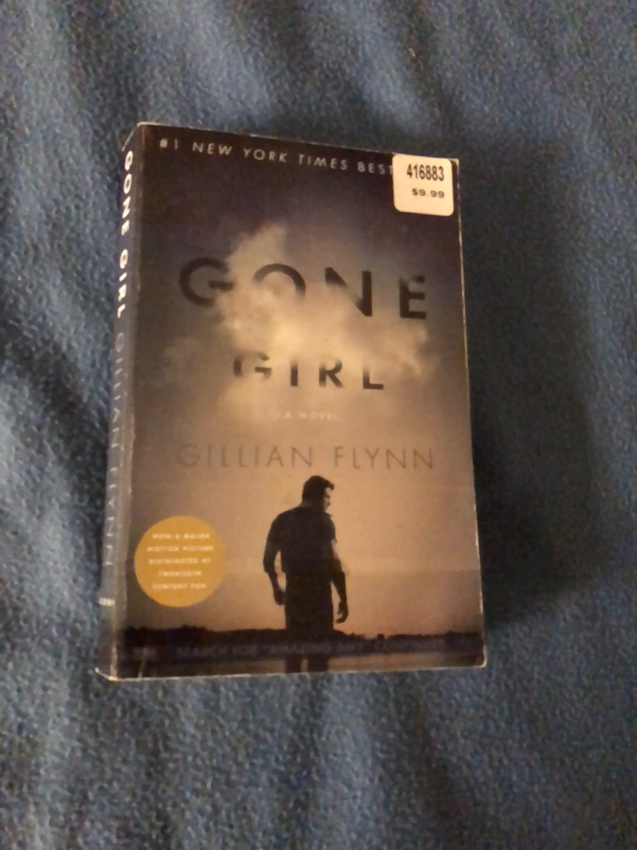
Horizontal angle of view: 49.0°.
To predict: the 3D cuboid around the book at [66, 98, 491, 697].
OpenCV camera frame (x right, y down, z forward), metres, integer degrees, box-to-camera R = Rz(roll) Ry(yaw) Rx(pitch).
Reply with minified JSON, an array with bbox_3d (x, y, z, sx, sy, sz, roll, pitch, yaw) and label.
[{"bbox_3d":[-0.014,-0.011,0.263,0.140,0.040,0.200,1,80,-13],"label":"book"}]
